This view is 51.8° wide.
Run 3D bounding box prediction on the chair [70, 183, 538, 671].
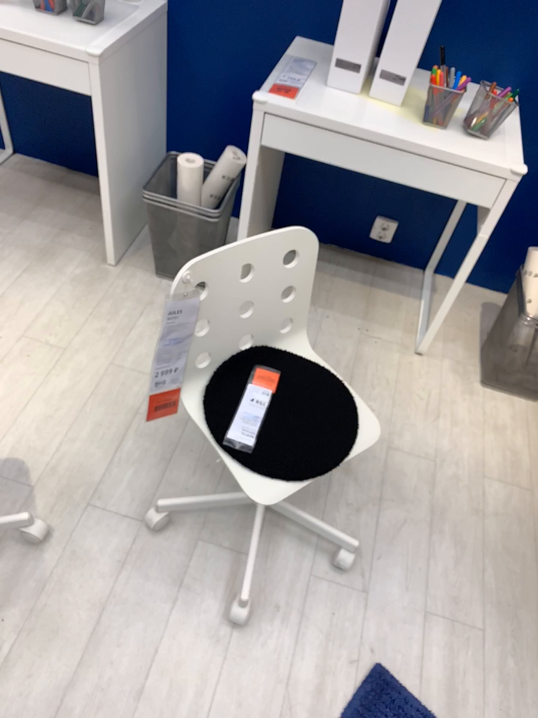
[{"bbox_3d":[0.017,0.152,1.248,0.602,0.737,0.591,-27,60,-29],"label":"chair"}]
